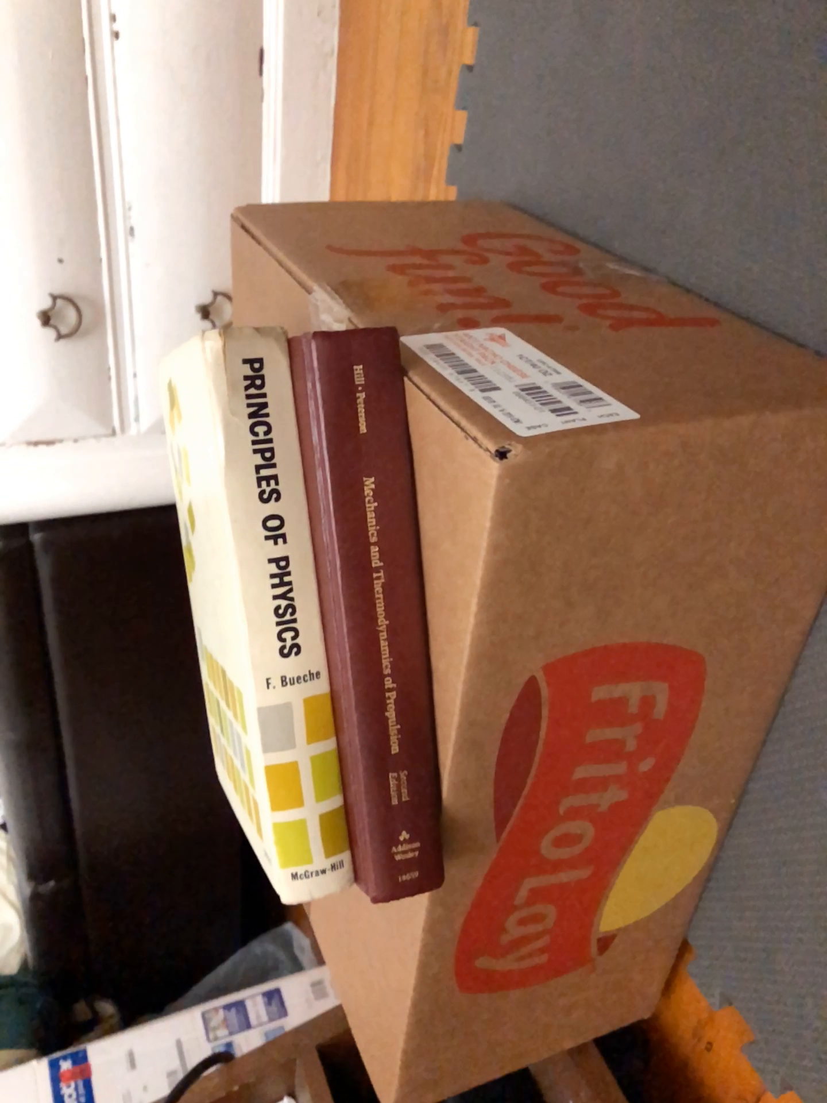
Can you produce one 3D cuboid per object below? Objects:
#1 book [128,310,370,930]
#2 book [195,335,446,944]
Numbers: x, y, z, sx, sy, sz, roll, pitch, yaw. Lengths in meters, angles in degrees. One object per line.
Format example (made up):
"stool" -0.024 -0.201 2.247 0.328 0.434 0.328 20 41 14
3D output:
"book" -0.088 0.022 0.451 0.181 0.040 0.250 -165 66 -66
"book" -0.053 0.028 0.452 0.181 0.040 0.250 -159 61 -64
